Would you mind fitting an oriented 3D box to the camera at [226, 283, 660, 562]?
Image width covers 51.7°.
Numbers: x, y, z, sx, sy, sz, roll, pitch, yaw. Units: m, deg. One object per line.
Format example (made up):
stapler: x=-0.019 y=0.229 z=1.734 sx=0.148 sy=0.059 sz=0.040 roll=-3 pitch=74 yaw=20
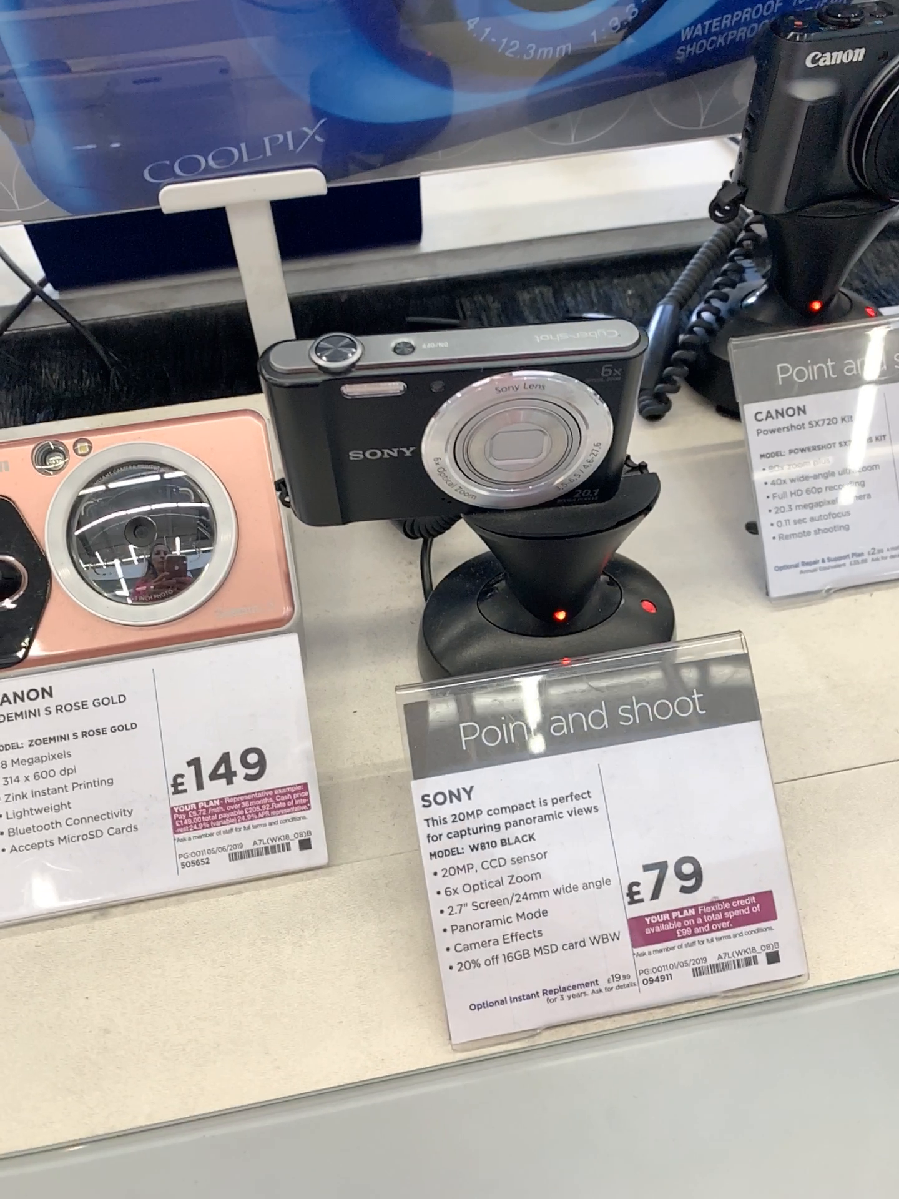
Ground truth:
camera: x=-0.002 y=-0.045 z=0.245 sx=0.100 sy=0.060 sz=0.030 roll=-5 pitch=52 yaw=-3
